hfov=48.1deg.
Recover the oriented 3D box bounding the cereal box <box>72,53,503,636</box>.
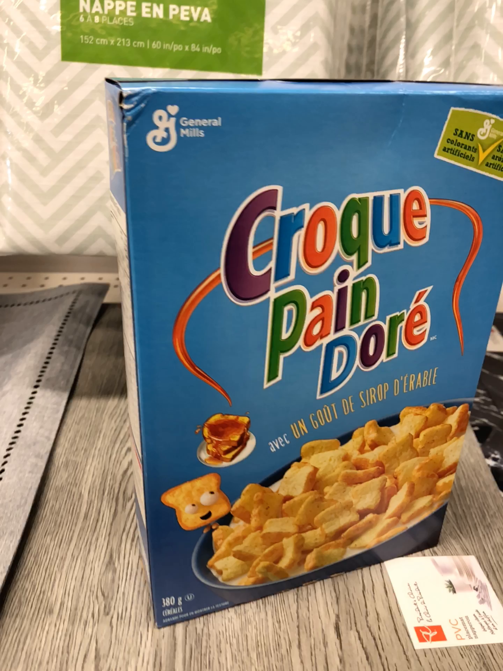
[{"bbox_3d":[0.031,0.011,0.296,0.210,0.279,0.050,-7,27,-19],"label":"cereal box"}]
